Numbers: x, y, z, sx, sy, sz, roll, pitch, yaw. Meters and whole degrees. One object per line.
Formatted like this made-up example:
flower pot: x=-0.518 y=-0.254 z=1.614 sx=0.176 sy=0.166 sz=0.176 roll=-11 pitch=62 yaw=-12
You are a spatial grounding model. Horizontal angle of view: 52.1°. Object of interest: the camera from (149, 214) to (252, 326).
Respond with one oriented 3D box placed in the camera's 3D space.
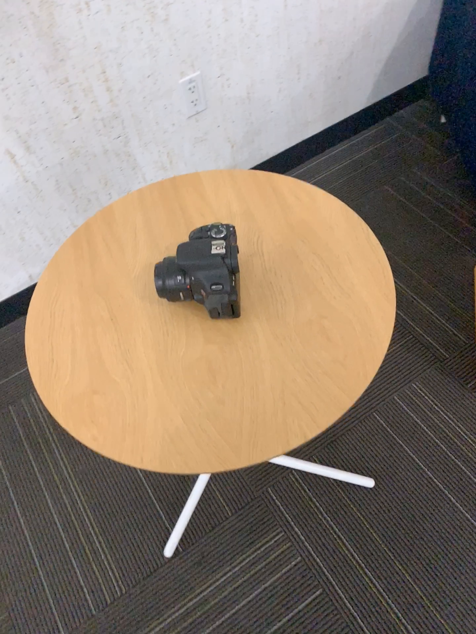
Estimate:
camera: x=-0.049 y=-0.065 z=0.675 sx=0.125 sy=0.080 sz=0.120 roll=-5 pitch=56 yaw=3
